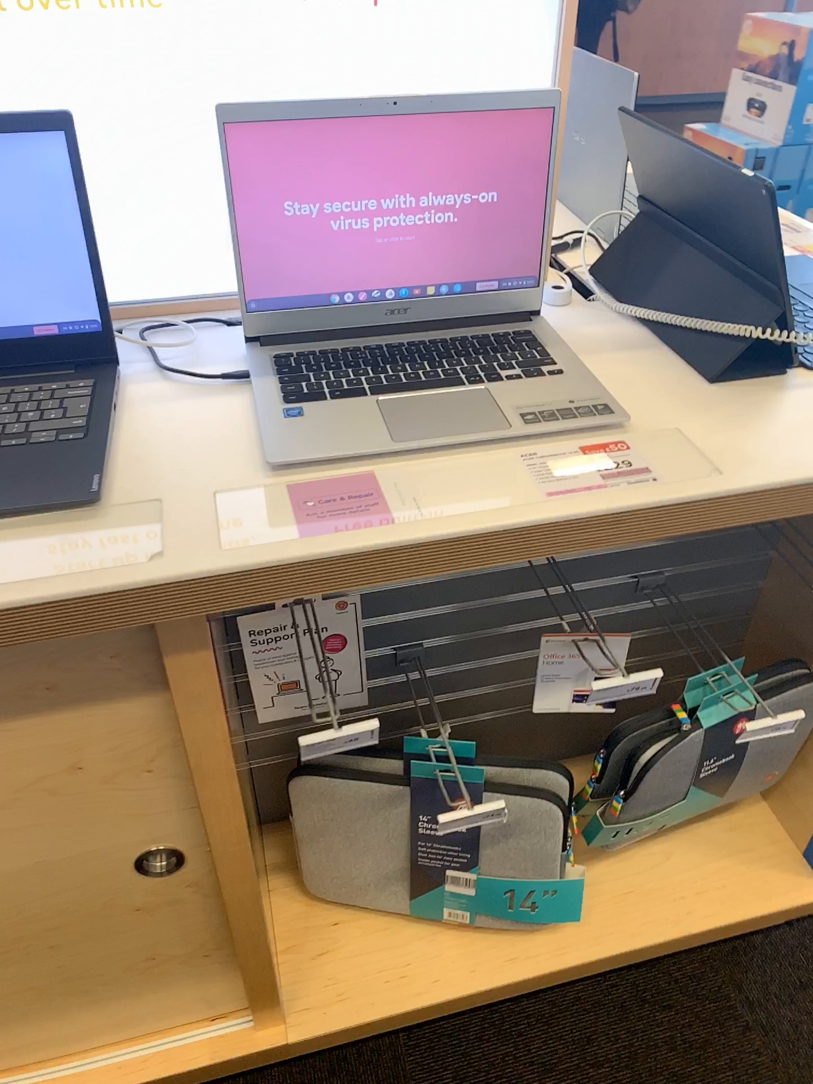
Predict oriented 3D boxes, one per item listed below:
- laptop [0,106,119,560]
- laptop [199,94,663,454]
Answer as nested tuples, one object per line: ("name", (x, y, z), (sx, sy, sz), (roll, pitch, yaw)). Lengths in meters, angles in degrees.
("laptop", (-0.411, -0.180, 0.632), (0.308, 0.204, 0.285), (-7, 40, -10))
("laptop", (0.003, -0.242, 0.710), (0.303, 0.206, 0.238), (-9, 38, -13))
